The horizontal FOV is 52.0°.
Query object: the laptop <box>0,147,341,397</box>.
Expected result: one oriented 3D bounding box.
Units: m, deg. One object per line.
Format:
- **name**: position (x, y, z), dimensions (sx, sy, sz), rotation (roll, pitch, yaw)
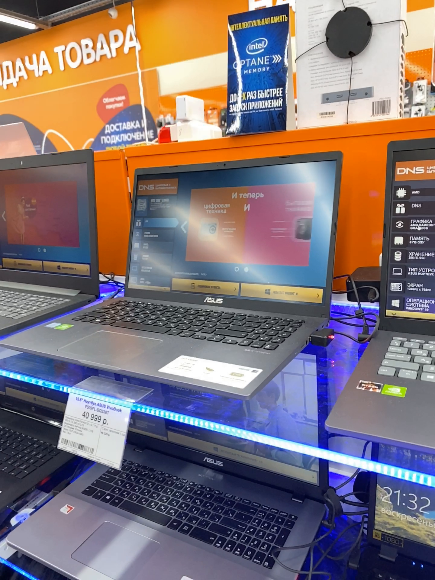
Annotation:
- **laptop**: position (-0.059, -0.059, 0.586), dimensions (0.358, 0.211, 0.307), rotation (5, 16, 30)
